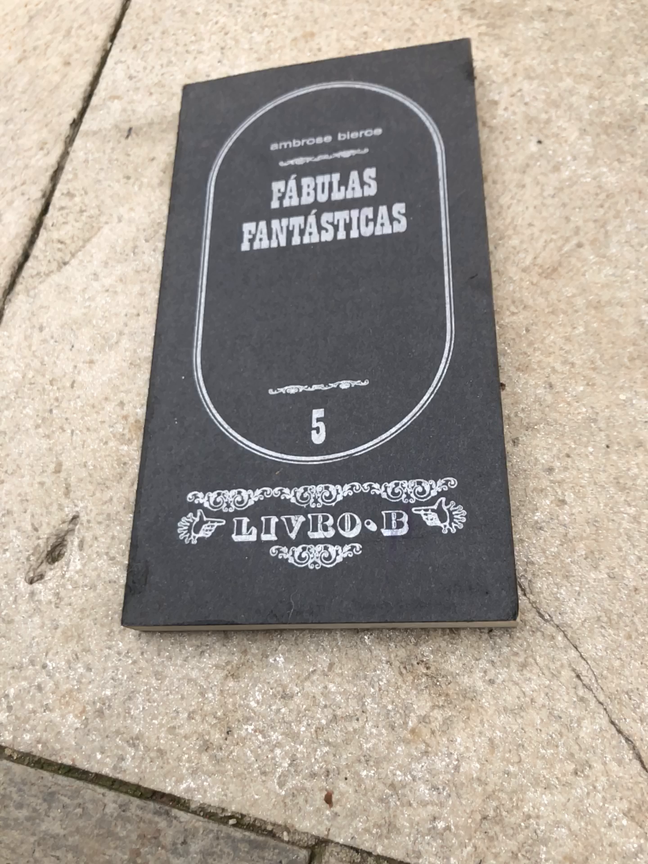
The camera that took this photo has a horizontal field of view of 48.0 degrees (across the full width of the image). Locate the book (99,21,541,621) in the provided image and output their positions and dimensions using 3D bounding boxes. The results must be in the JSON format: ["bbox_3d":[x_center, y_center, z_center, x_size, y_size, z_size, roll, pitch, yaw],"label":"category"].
[{"bbox_3d":[-0.001,-0.038,0.206,0.104,0.013,0.176,-3,68,12],"label":"book"}]
